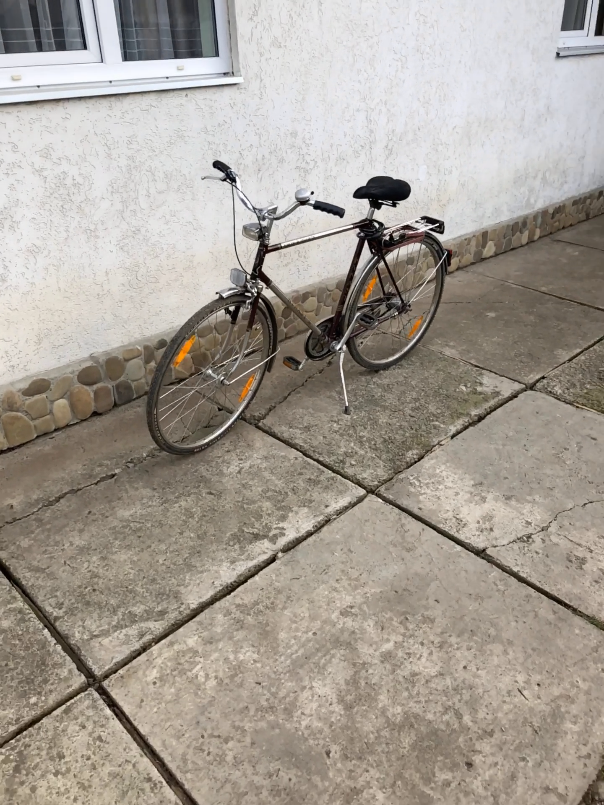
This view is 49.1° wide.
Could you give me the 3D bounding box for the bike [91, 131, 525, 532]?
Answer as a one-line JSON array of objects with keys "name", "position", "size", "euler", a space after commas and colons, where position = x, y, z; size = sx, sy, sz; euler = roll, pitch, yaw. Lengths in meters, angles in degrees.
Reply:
[{"name": "bike", "position": [0.137, -0.431, 2.717], "size": [1.718, 1.054, 0.598], "euler": [-26, 38, -37]}]
